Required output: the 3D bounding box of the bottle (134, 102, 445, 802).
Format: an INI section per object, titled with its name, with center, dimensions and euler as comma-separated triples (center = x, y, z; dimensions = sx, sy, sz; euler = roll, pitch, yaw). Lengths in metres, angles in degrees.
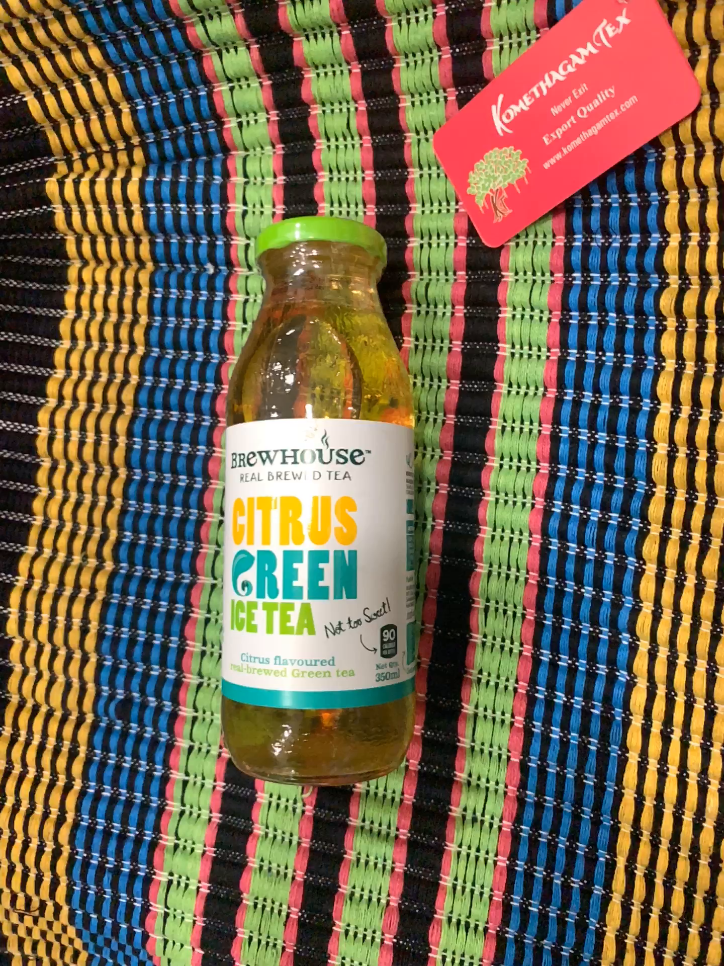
[bottle]
center = -0.016, -0.009, 0.243
dimensions = 0.080, 0.070, 0.190
euler = -1, 83, 10
